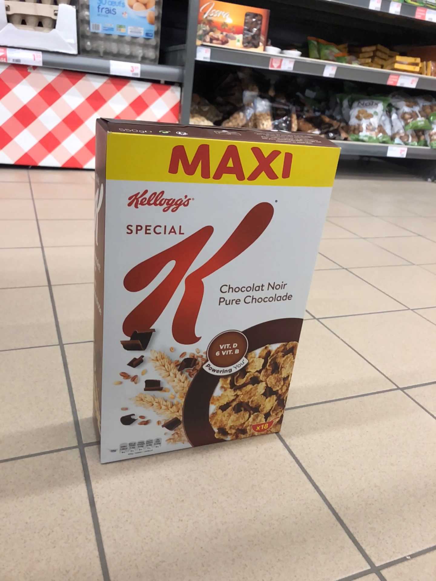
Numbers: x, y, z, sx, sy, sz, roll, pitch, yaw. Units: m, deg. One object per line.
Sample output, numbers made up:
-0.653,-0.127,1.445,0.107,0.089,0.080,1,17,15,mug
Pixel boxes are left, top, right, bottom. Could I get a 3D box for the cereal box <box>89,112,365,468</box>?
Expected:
-0.006,0.005,0.445,0.211,0.298,0.070,-3,26,-22,cereal box
